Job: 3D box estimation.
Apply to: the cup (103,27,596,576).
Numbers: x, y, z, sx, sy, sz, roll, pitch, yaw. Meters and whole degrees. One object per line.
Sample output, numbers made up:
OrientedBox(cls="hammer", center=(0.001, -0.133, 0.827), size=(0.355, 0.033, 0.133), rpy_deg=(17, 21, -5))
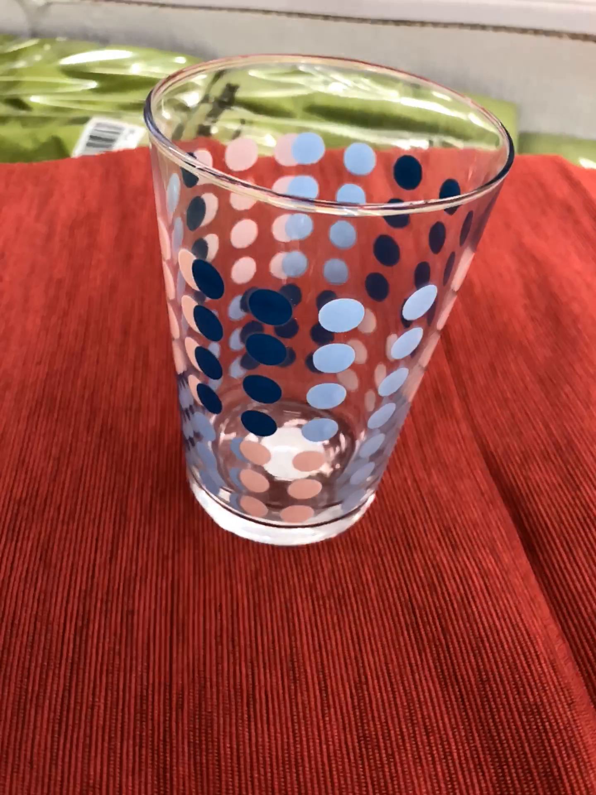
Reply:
OrientedBox(cls="cup", center=(0.006, -0.023, 0.191), size=(0.090, 0.120, 0.090), rpy_deg=(3, 43, -3))
